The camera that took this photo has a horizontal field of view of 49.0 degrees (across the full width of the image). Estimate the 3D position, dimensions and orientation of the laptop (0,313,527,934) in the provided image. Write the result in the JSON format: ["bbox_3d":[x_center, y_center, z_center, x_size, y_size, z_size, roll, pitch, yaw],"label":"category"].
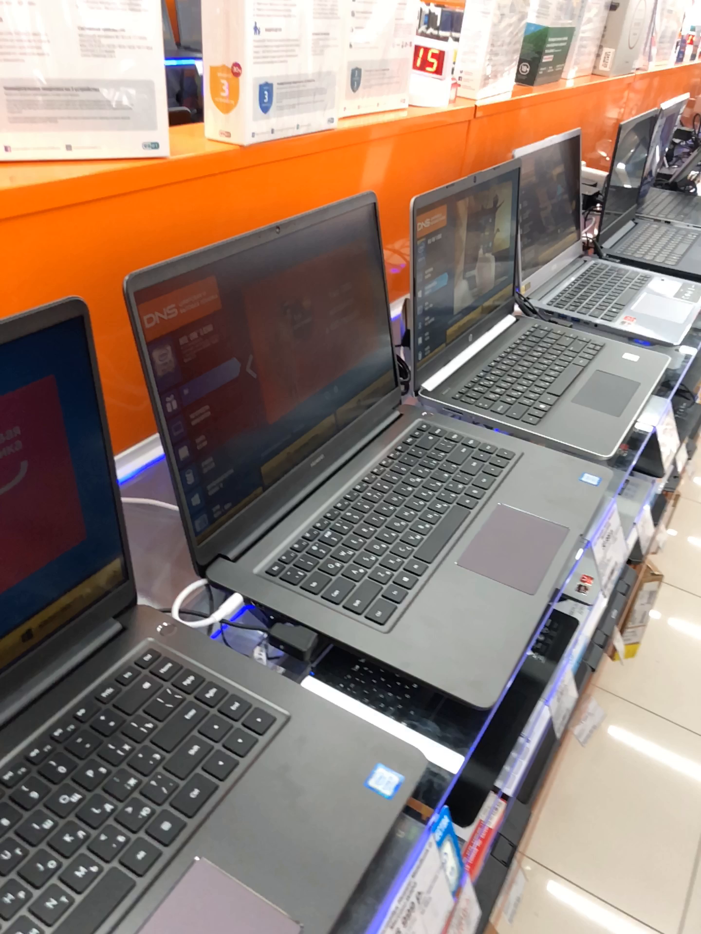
[{"bbox_3d":[-0.137,0.115,0.311,0.241,0.230,0.357,19,34,22],"label":"laptop"}]

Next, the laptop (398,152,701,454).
[{"bbox_3d":[0.238,-0.207,0.885,0.243,0.195,0.270,24,39,25],"label":"laptop"}]

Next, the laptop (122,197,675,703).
[{"bbox_3d":[0.054,-0.055,0.622,0.287,0.212,0.340,20,34,21],"label":"laptop"}]
